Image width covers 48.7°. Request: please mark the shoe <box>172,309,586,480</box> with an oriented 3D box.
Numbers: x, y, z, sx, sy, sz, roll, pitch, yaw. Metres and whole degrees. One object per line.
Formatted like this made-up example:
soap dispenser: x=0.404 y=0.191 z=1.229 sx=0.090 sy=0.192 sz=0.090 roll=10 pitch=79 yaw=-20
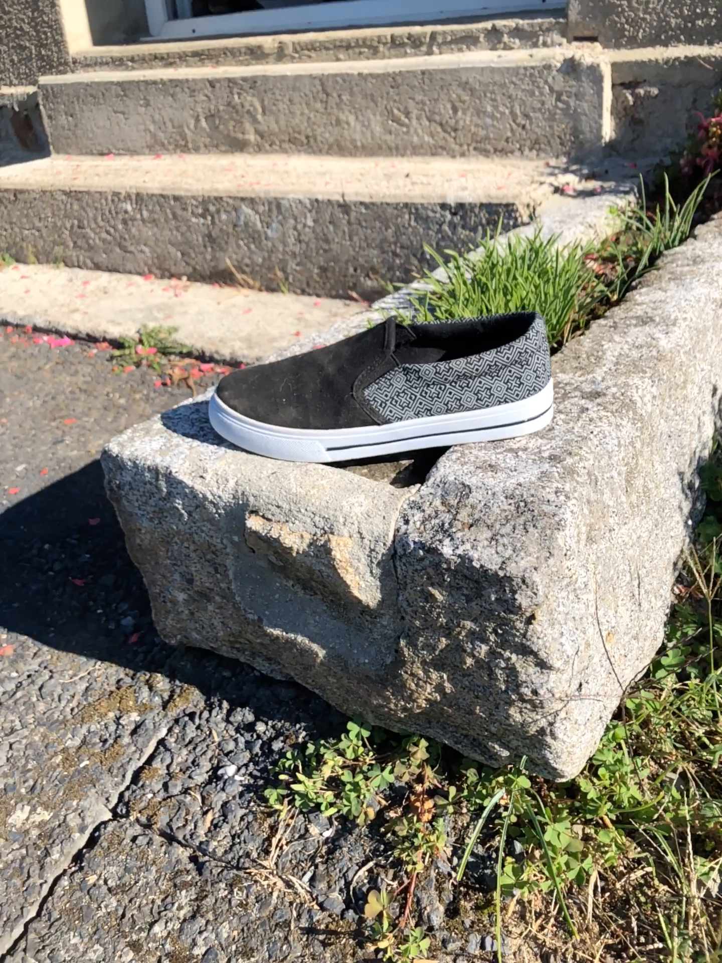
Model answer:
shoe: x=0.017 y=-0.064 z=0.555 sx=0.260 sy=0.080 sz=0.101 roll=2 pitch=29 yaw=11
